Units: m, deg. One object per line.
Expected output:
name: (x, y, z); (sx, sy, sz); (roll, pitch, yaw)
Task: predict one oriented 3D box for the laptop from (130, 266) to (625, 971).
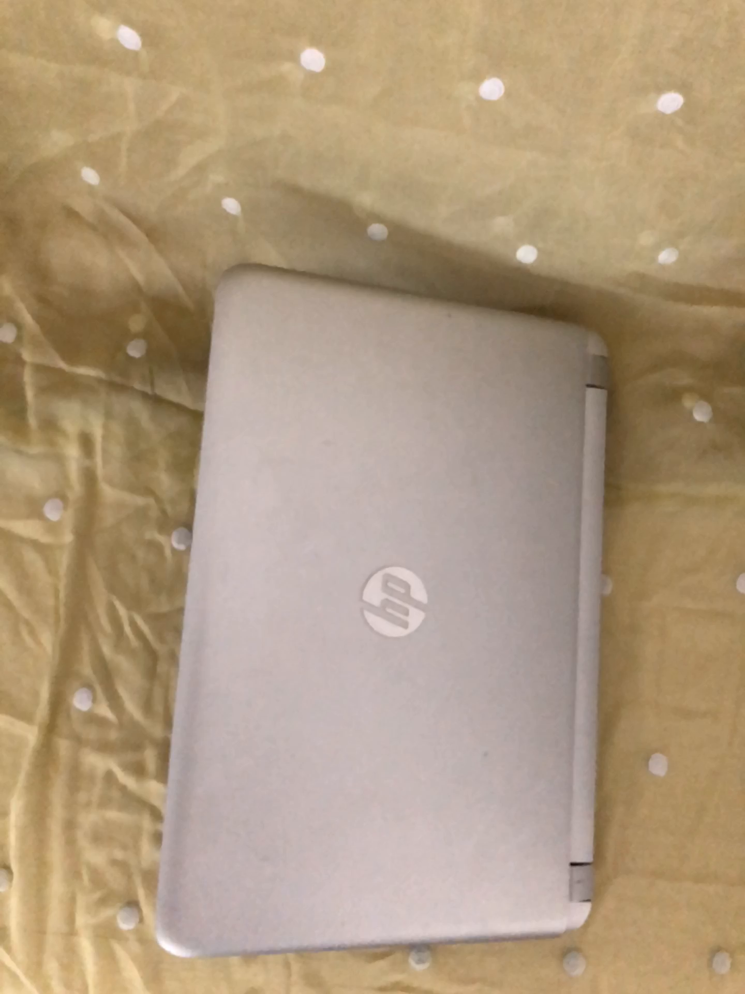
laptop: (0.009, 0.063, 0.487); (0.243, 0.077, 0.365); (4, 83, -1)
